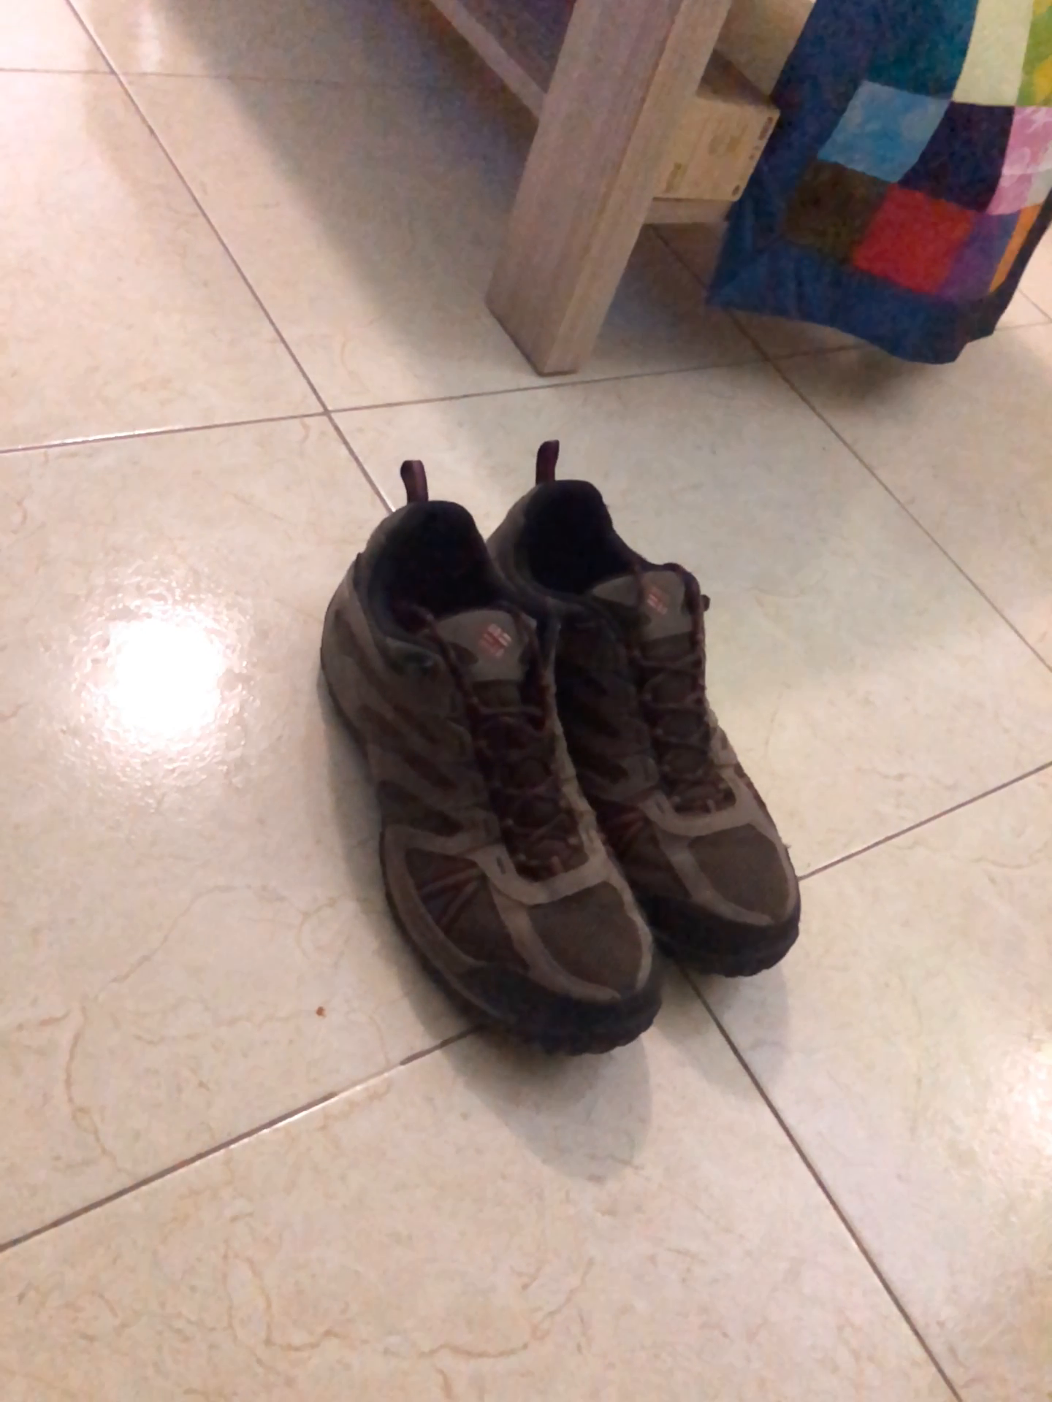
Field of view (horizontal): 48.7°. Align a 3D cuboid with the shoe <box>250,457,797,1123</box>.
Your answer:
[{"bbox_3d":[-0.020,0.027,0.595,0.130,0.110,0.310,-13,58,-30],"label":"shoe"}]

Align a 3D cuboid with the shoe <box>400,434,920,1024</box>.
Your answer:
[{"bbox_3d":[0.058,0.002,0.667,0.120,0.120,0.310,-14,59,-30],"label":"shoe"}]
